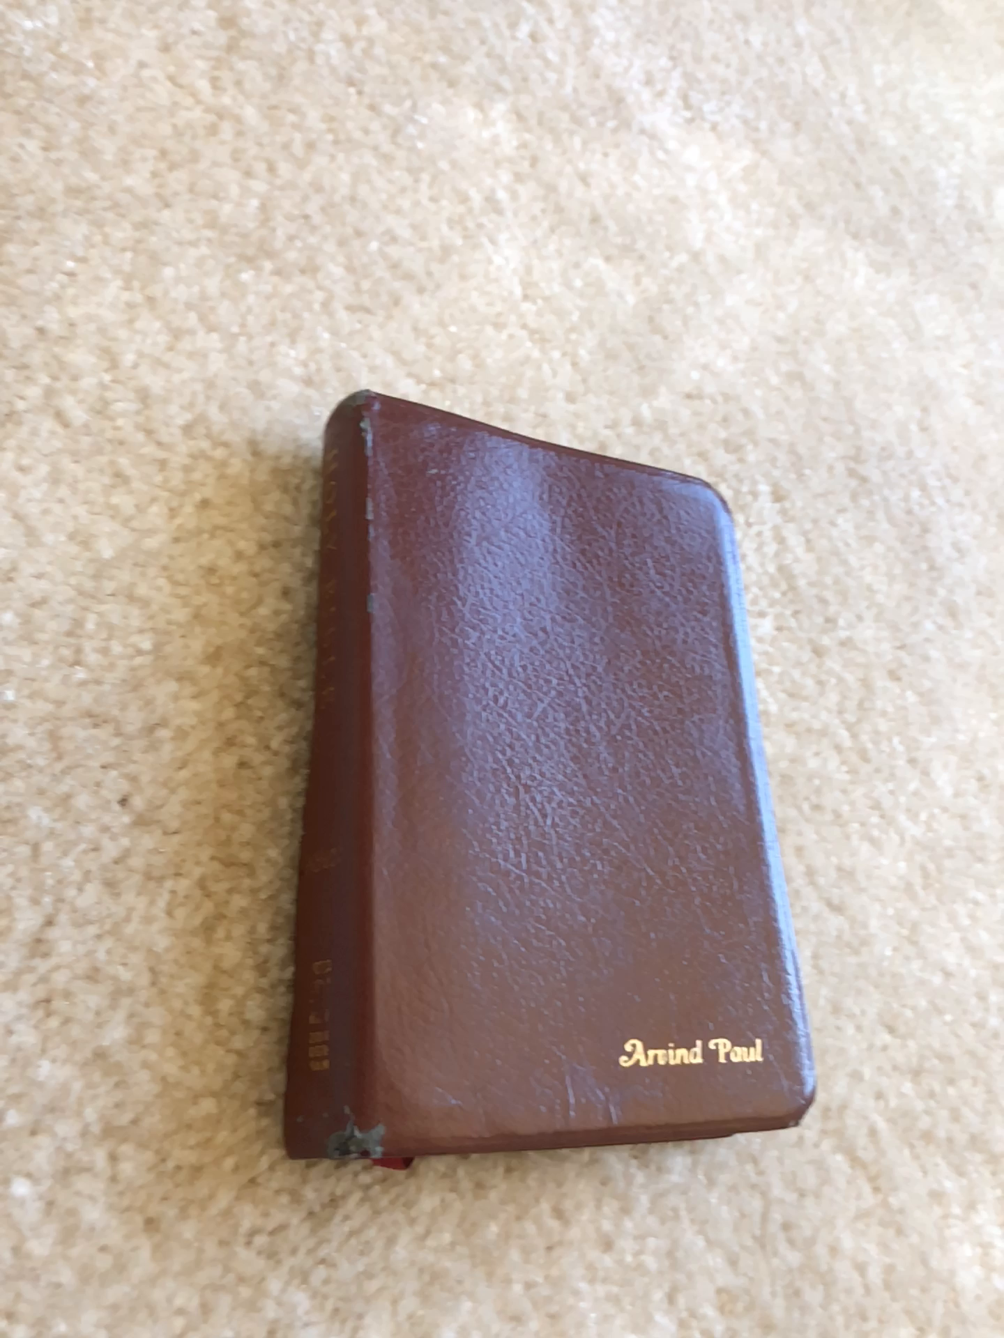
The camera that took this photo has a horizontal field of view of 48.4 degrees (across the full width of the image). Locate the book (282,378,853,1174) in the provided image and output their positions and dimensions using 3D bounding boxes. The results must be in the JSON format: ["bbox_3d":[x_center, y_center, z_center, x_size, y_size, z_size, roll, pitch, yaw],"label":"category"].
[{"bbox_3d":[0.012,0.024,0.253,0.110,0.040,0.157,8,66,-27],"label":"book"}]
